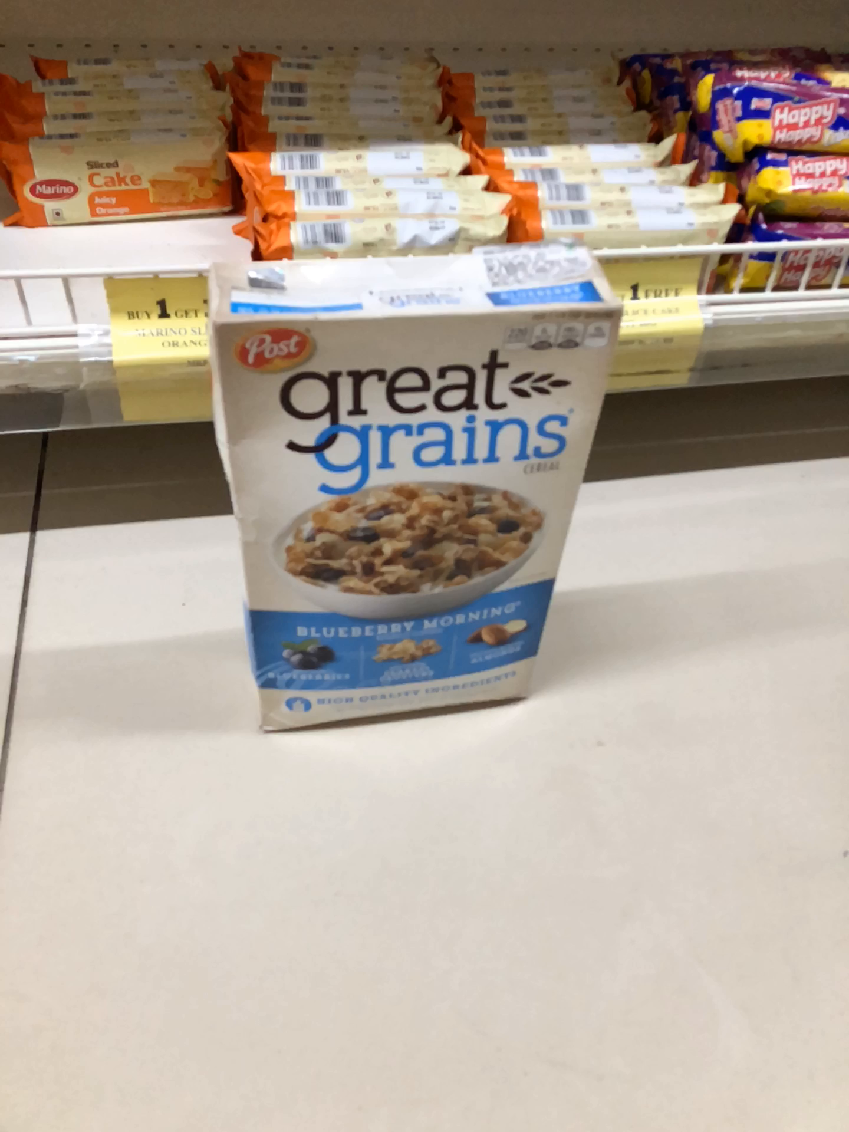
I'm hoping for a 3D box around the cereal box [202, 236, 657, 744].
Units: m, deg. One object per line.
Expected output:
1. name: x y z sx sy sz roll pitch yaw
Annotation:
1. cereal box: -0.007 -0.022 0.458 0.170 0.258 0.060 -6 46 -11
